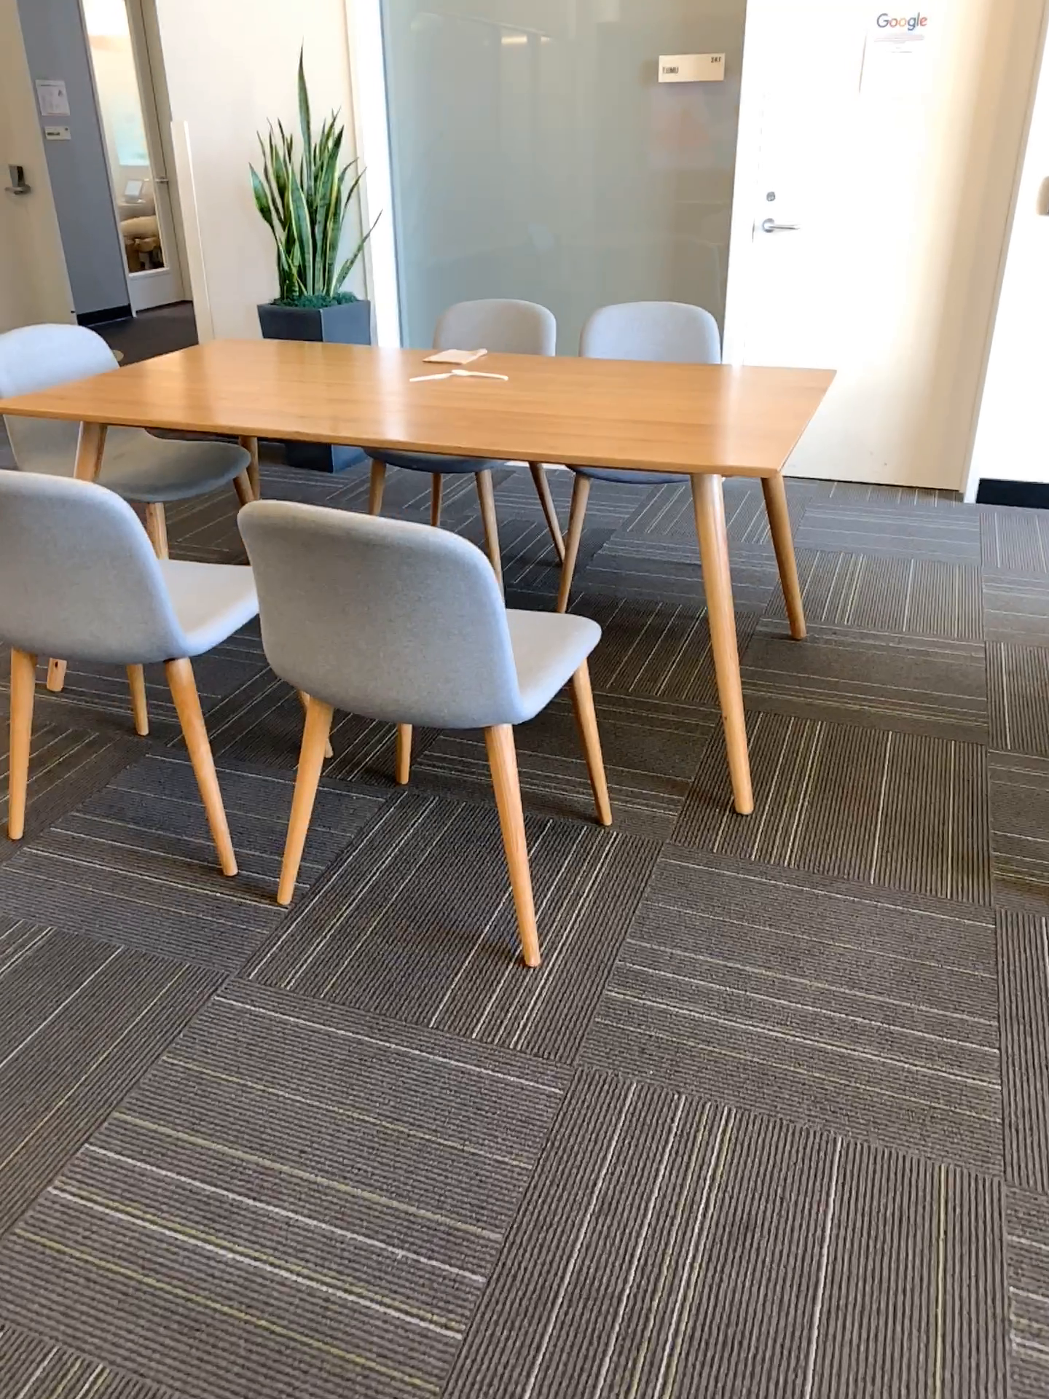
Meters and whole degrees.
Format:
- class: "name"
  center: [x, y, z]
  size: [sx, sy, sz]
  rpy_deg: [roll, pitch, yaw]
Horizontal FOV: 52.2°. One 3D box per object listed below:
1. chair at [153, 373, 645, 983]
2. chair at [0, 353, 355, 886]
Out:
- class: "chair"
  center: [-0.149, -0.072, 1.849]
  size: [0.571, 0.805, 0.583]
  rpy_deg: [8, 31, 16]
- class: "chair"
  center: [-0.735, -0.180, 2.058]
  size: [0.570, 0.805, 0.583]
  rpy_deg: [6, 30, 12]
